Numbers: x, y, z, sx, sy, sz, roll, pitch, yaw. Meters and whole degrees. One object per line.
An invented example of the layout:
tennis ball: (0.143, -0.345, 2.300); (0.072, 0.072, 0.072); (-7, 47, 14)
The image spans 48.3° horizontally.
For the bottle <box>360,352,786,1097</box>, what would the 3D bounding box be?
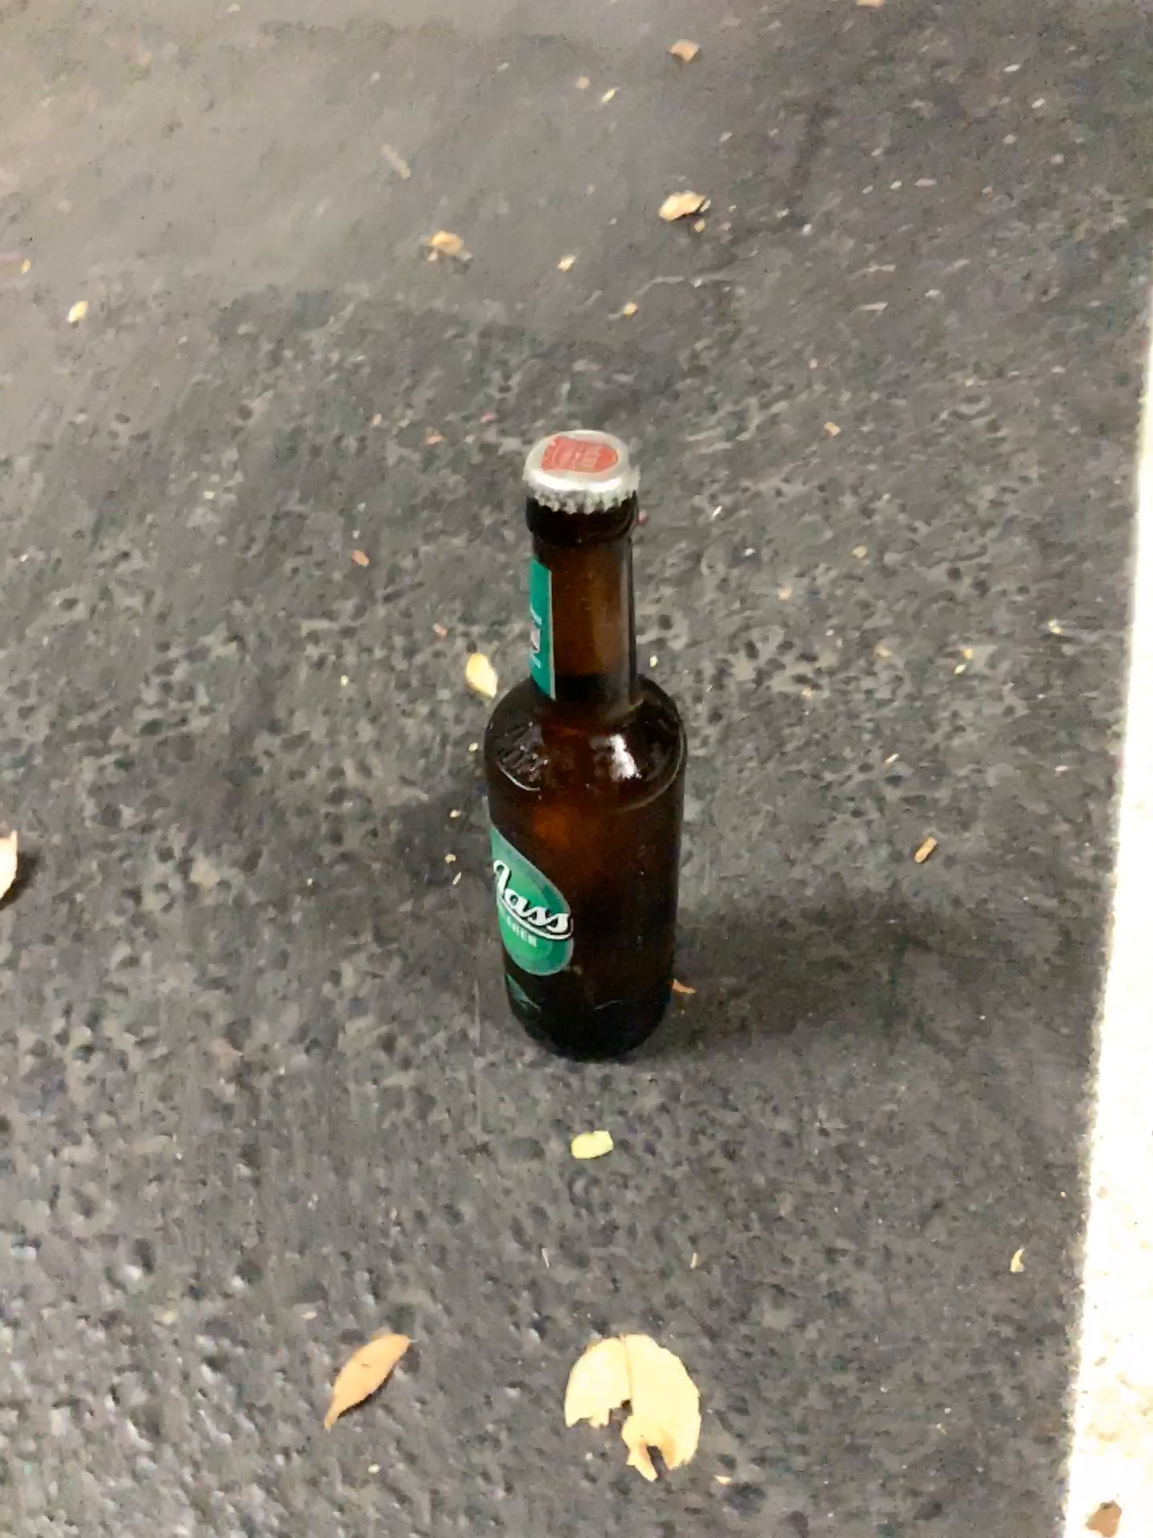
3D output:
bottle: (0.001, 0.000, 0.375); (0.070, 0.210, 0.070); (-1, 48, 1)
